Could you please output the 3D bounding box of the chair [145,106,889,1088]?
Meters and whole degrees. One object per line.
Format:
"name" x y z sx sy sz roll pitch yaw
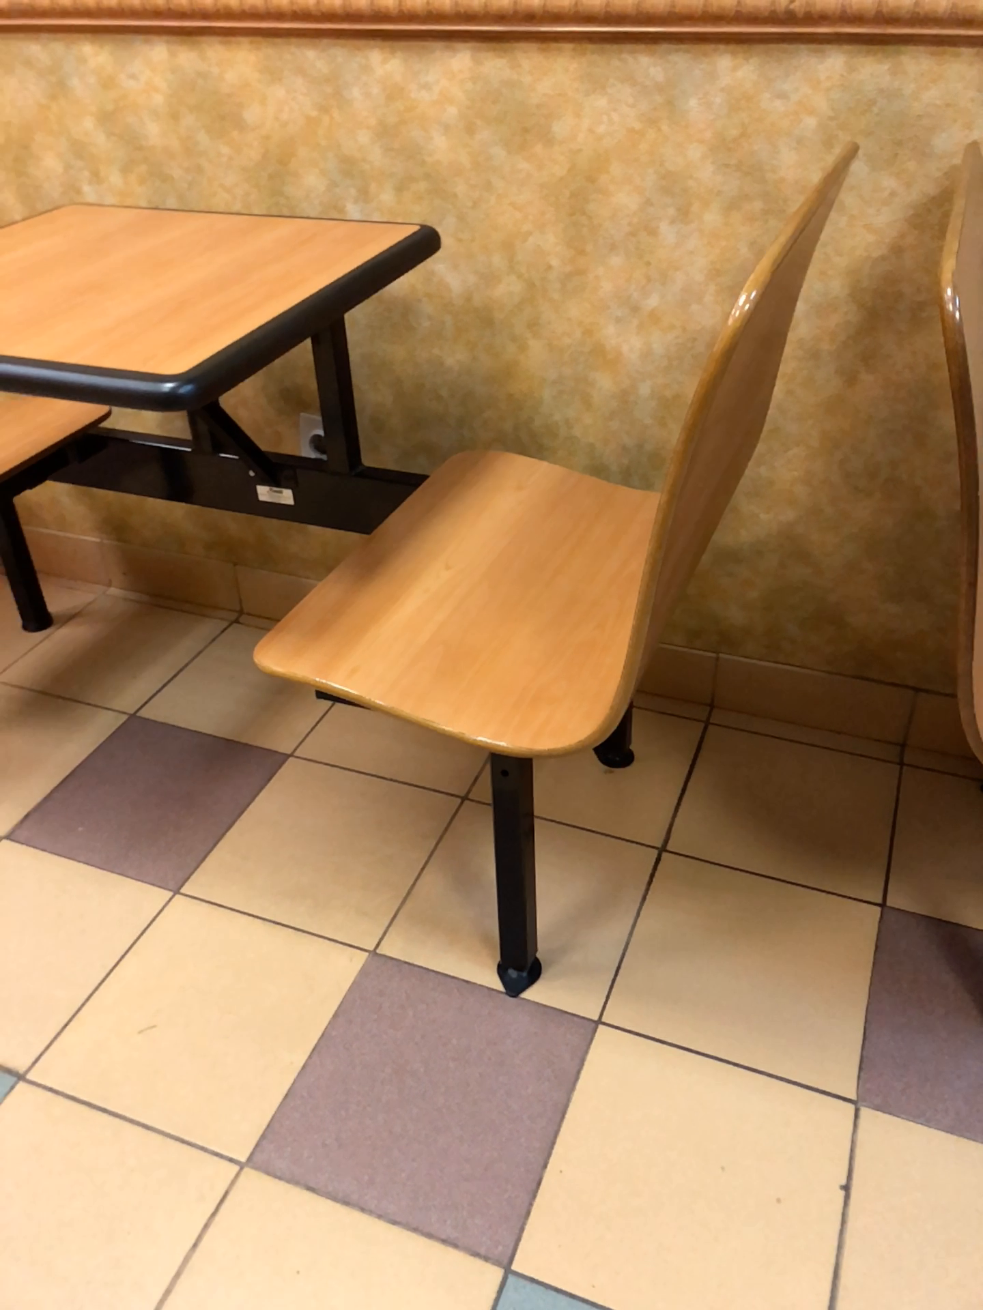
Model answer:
"chair" 0.089 -0.102 1.268 0.510 0.885 0.633 12 37 19
